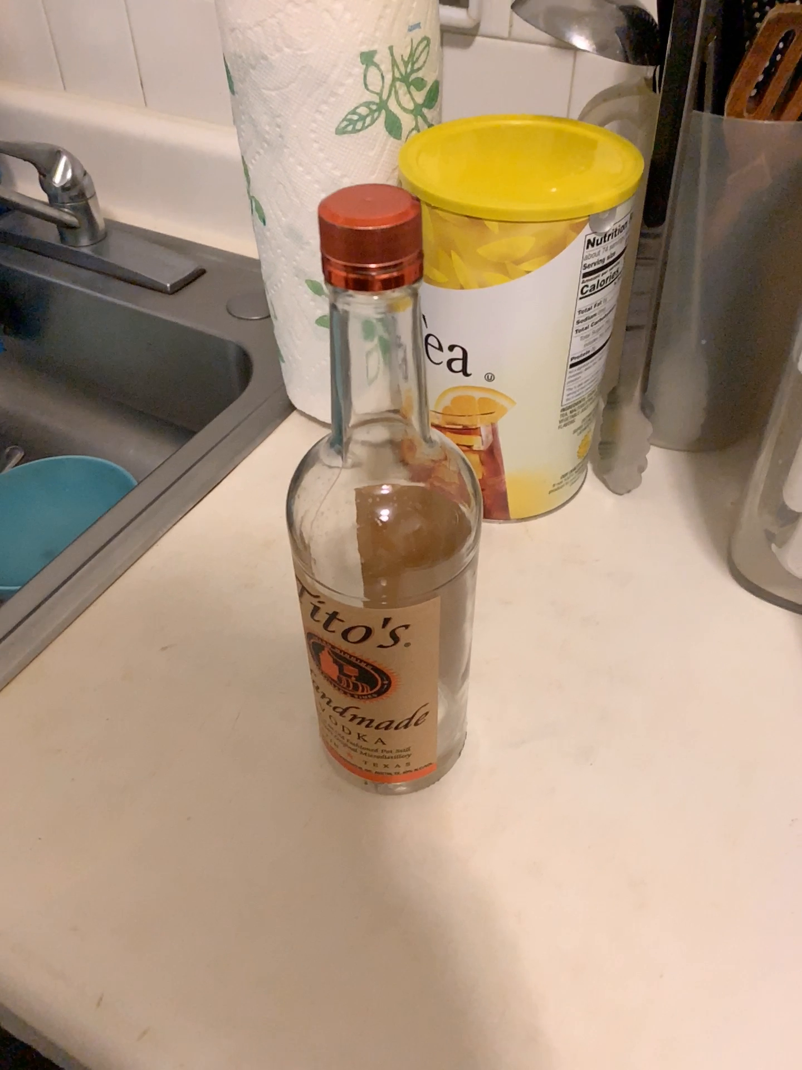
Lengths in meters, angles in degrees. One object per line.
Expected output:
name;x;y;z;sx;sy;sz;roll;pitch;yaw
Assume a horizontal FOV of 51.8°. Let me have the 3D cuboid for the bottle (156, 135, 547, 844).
bottle;-0.013;0.008;0.339;0.080;0.288;0.080;0;45;0
